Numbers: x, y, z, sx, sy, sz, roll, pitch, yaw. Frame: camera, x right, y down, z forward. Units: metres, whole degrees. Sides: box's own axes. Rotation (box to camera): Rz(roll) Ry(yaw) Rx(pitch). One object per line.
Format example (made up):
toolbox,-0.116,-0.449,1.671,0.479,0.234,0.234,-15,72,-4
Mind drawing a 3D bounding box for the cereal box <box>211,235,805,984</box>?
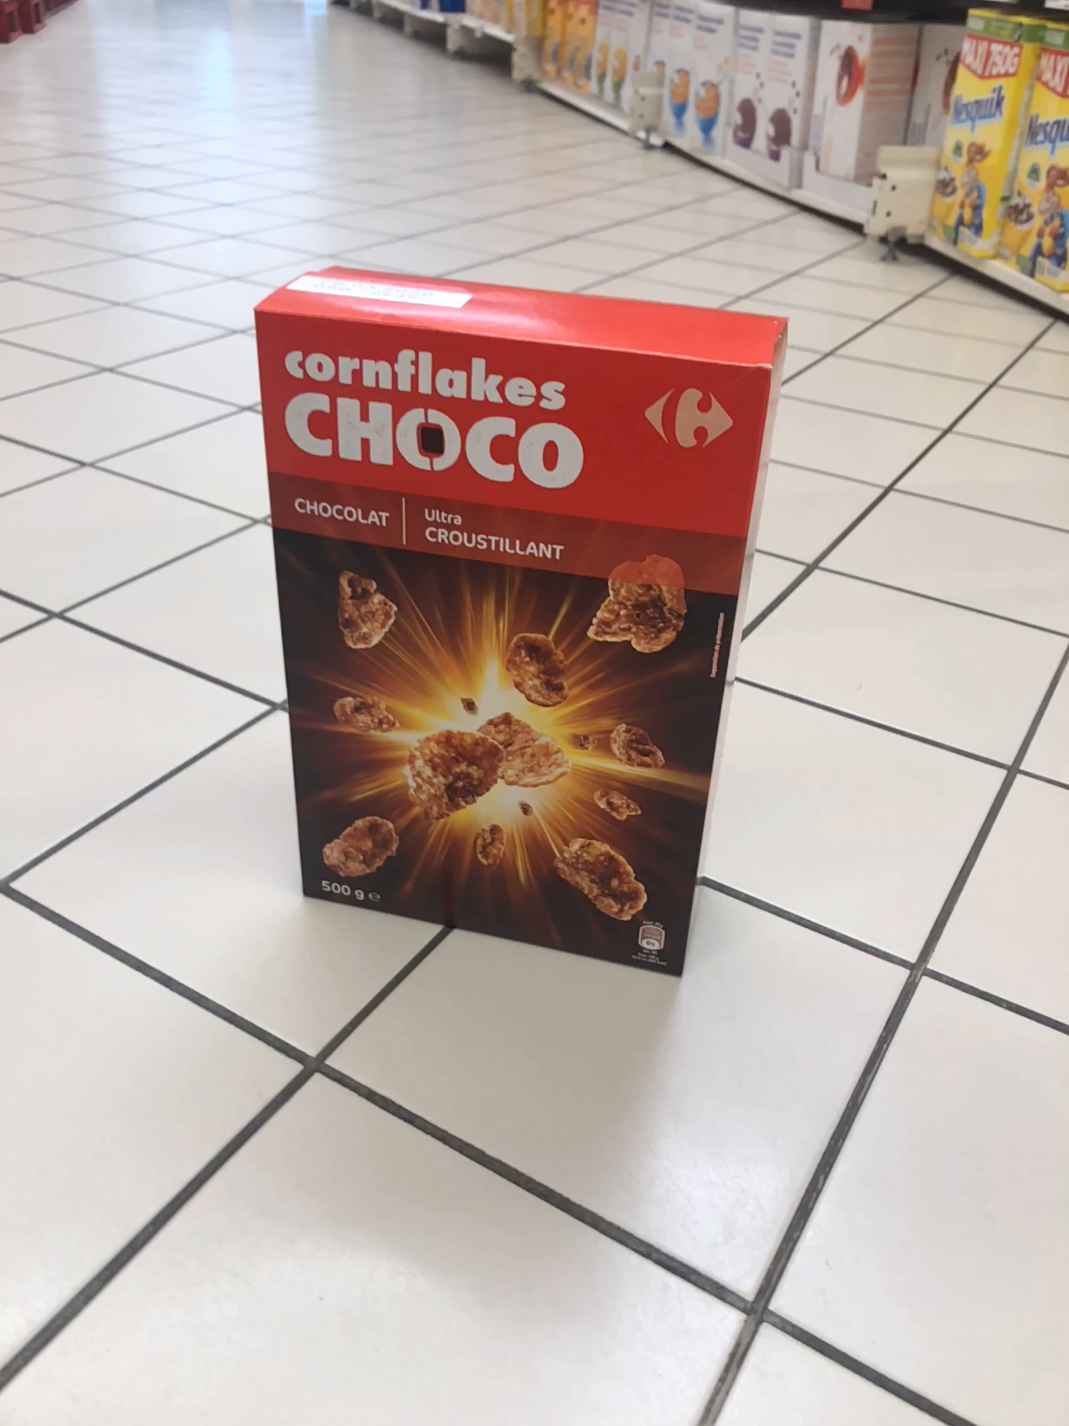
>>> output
cereal box,-0.011,-0.039,0.503,0.200,0.278,0.091,10,32,11
